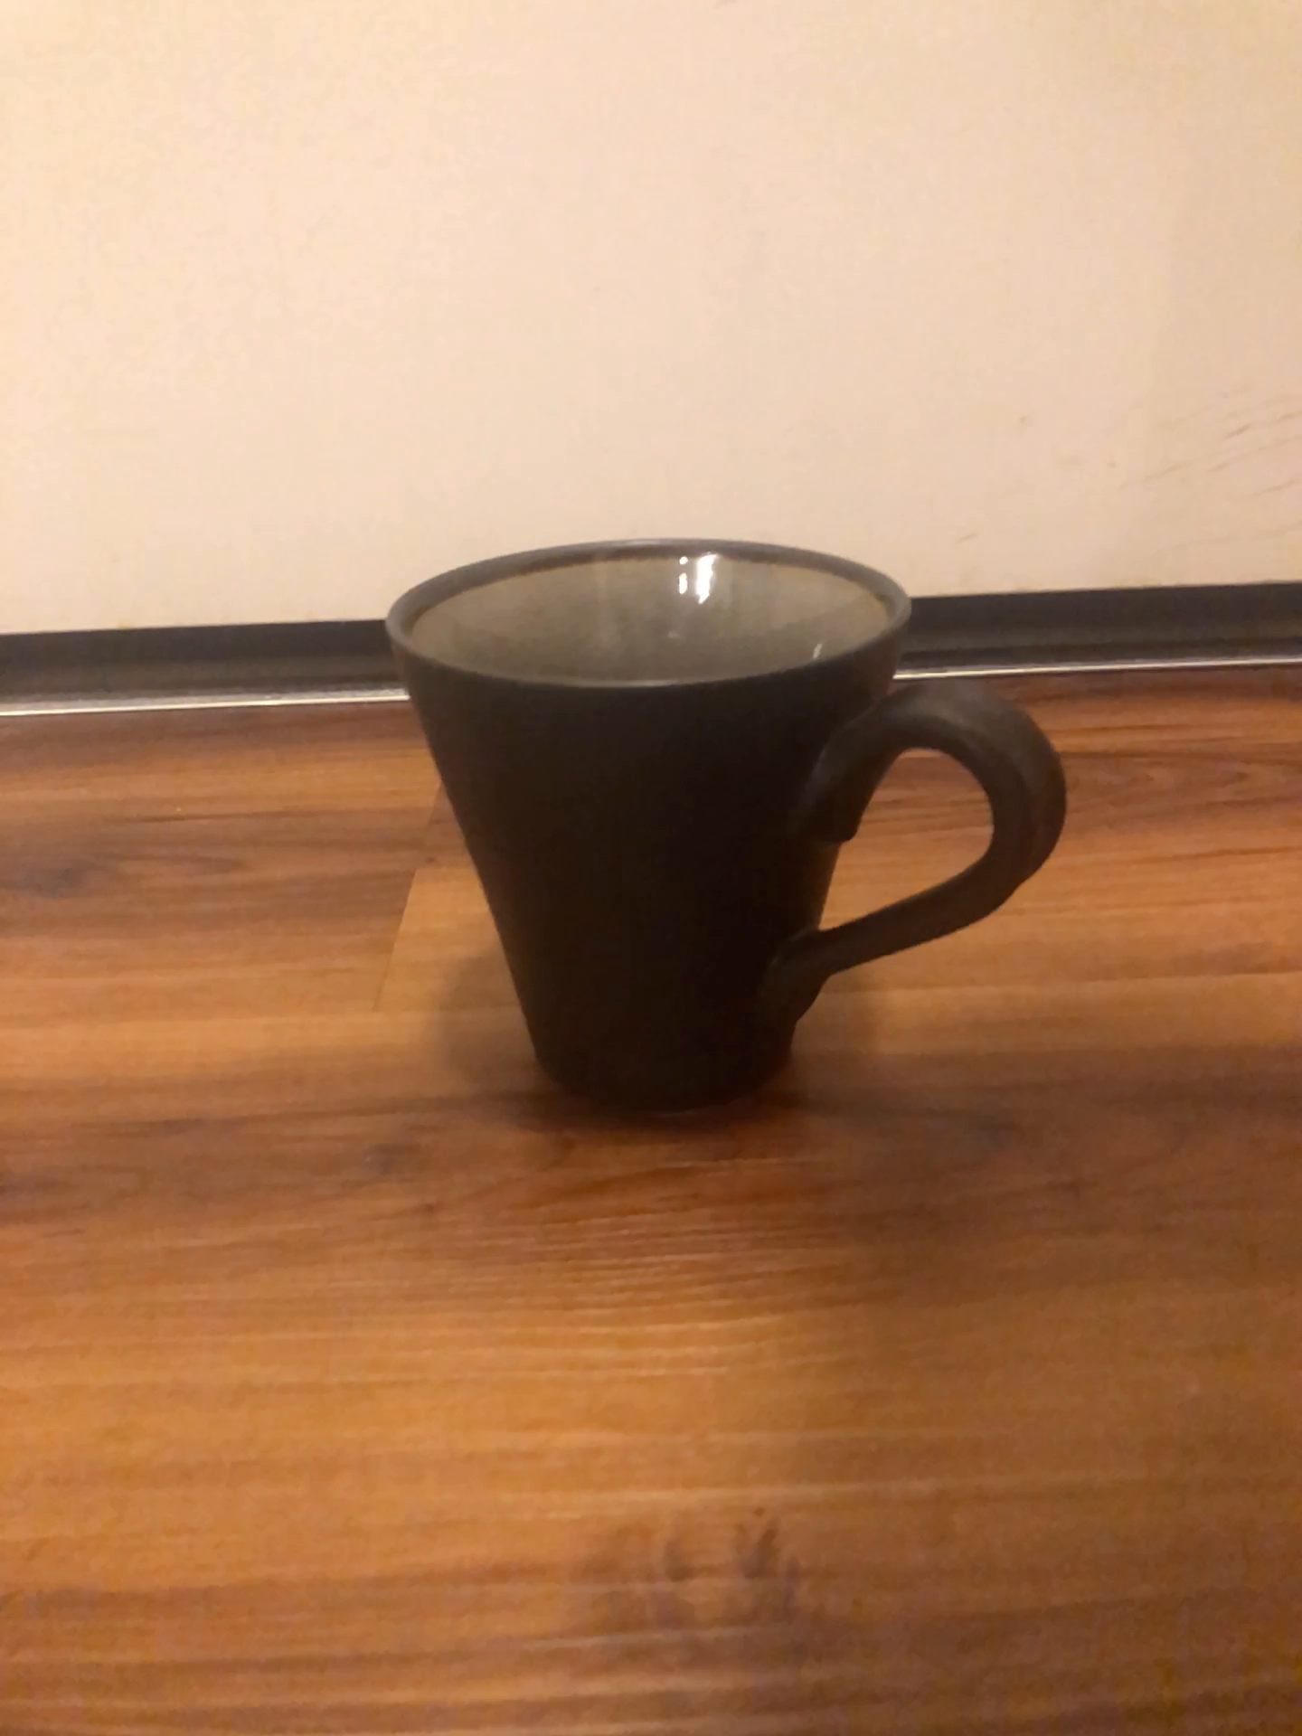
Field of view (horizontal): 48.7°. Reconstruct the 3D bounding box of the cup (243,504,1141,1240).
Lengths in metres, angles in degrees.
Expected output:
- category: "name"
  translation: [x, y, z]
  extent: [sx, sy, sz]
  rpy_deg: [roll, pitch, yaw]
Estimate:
- category: "cup"
  translation: [0.010, -0.015, 0.328]
  extent: [0.154, 0.100, 0.115]
  rpy_deg: [16, 31, 33]
